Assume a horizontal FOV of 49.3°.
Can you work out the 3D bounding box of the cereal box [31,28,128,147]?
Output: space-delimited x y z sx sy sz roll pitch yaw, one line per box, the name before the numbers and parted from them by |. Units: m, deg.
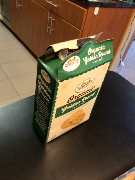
cereal box | 0.011 -0.002 0.352 0.171 0.248 0.080 -21 51 -34
